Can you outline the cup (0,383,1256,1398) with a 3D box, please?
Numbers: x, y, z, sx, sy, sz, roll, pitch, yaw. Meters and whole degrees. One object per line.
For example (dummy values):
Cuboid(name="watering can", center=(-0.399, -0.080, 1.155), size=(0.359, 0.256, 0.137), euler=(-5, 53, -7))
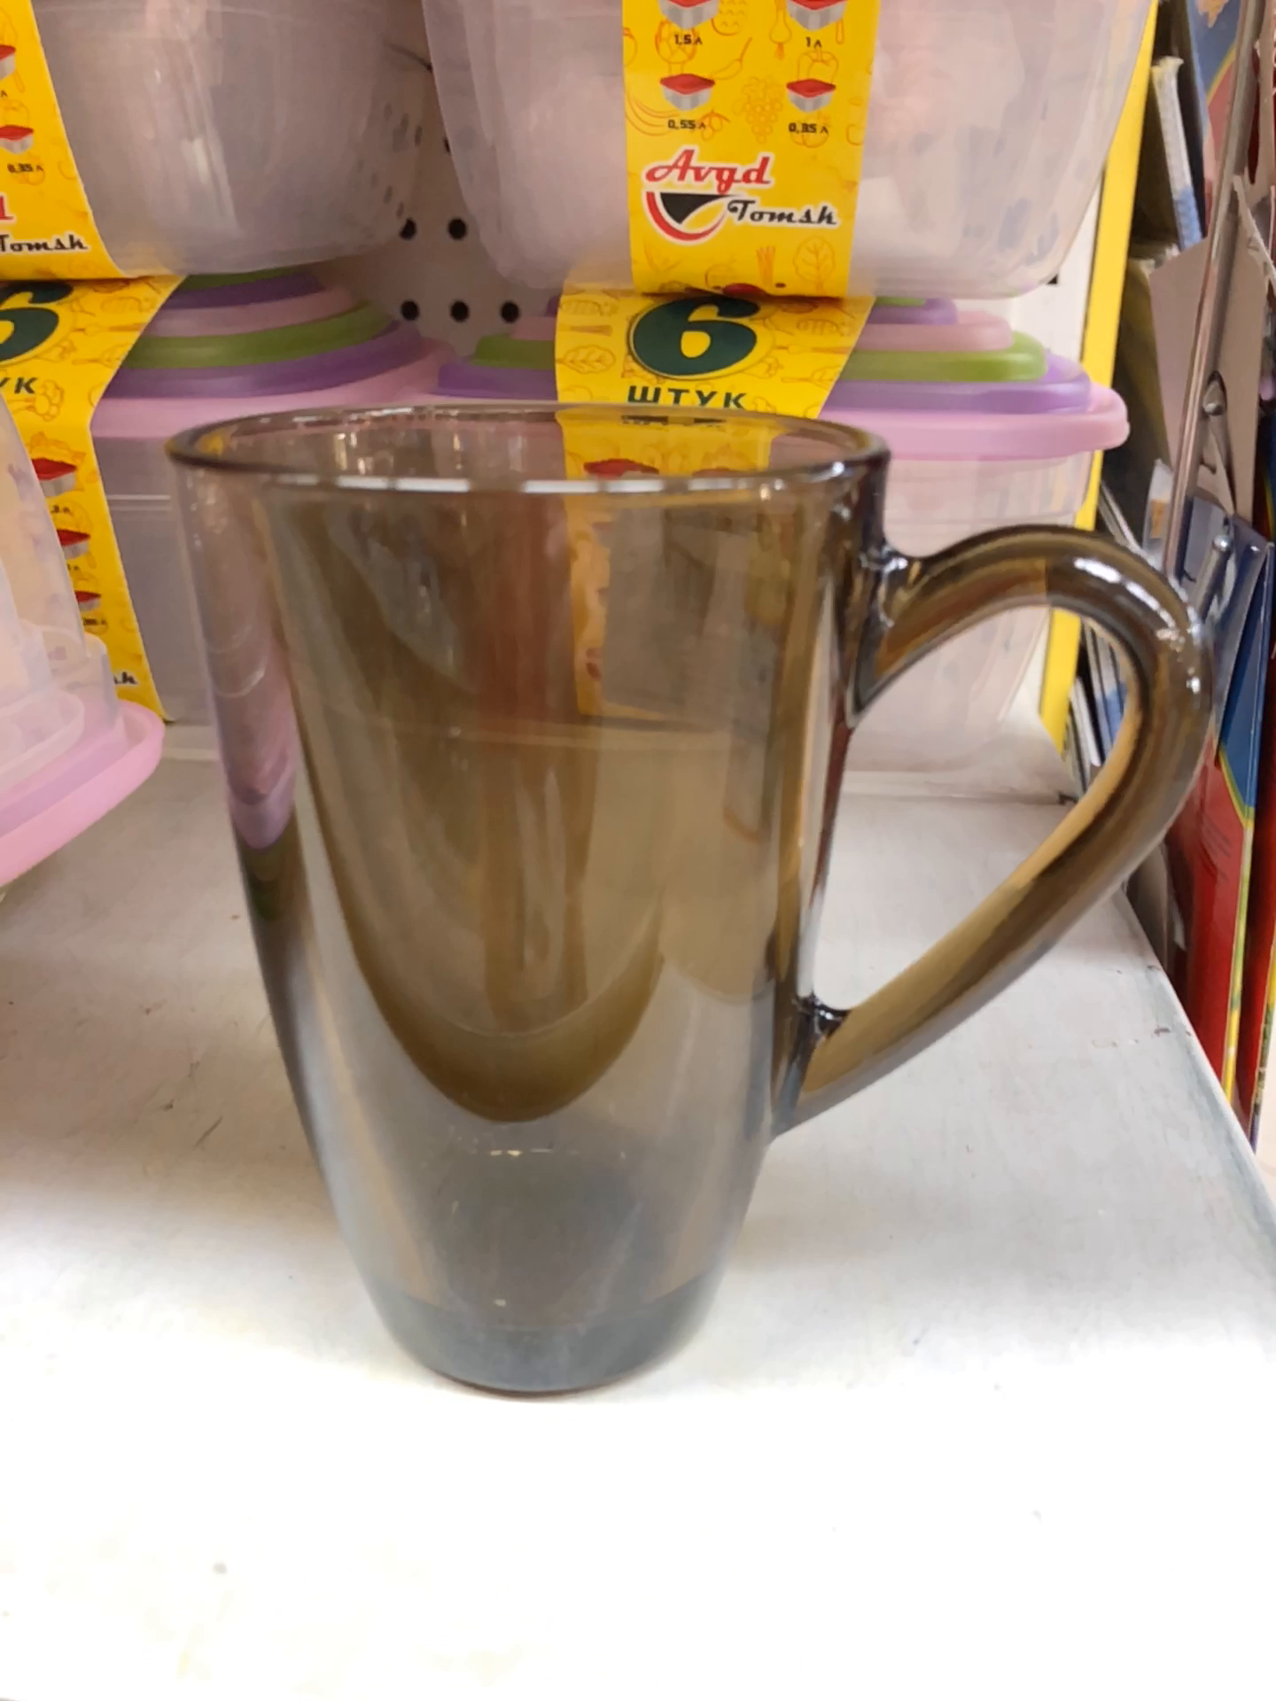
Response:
Cuboid(name="cup", center=(-0.004, -0.001, 0.169), size=(0.112, 0.096, 0.072), euler=(-2, 23, -2))
